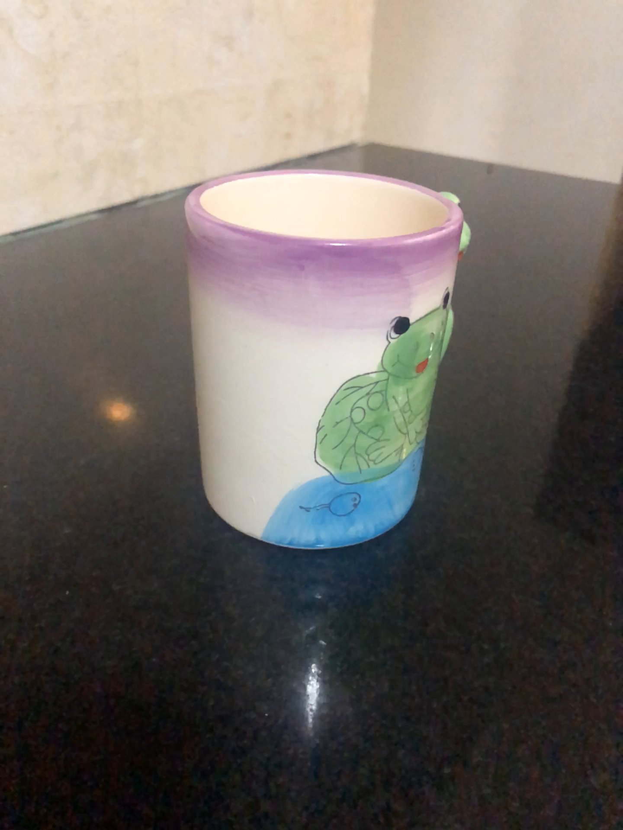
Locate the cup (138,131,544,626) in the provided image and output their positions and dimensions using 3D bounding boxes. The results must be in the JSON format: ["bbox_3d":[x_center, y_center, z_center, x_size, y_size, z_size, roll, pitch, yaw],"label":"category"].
[{"bbox_3d":[0.015,-0.022,0.228,0.080,0.109,0.111,15,33,20],"label":"cup"}]
